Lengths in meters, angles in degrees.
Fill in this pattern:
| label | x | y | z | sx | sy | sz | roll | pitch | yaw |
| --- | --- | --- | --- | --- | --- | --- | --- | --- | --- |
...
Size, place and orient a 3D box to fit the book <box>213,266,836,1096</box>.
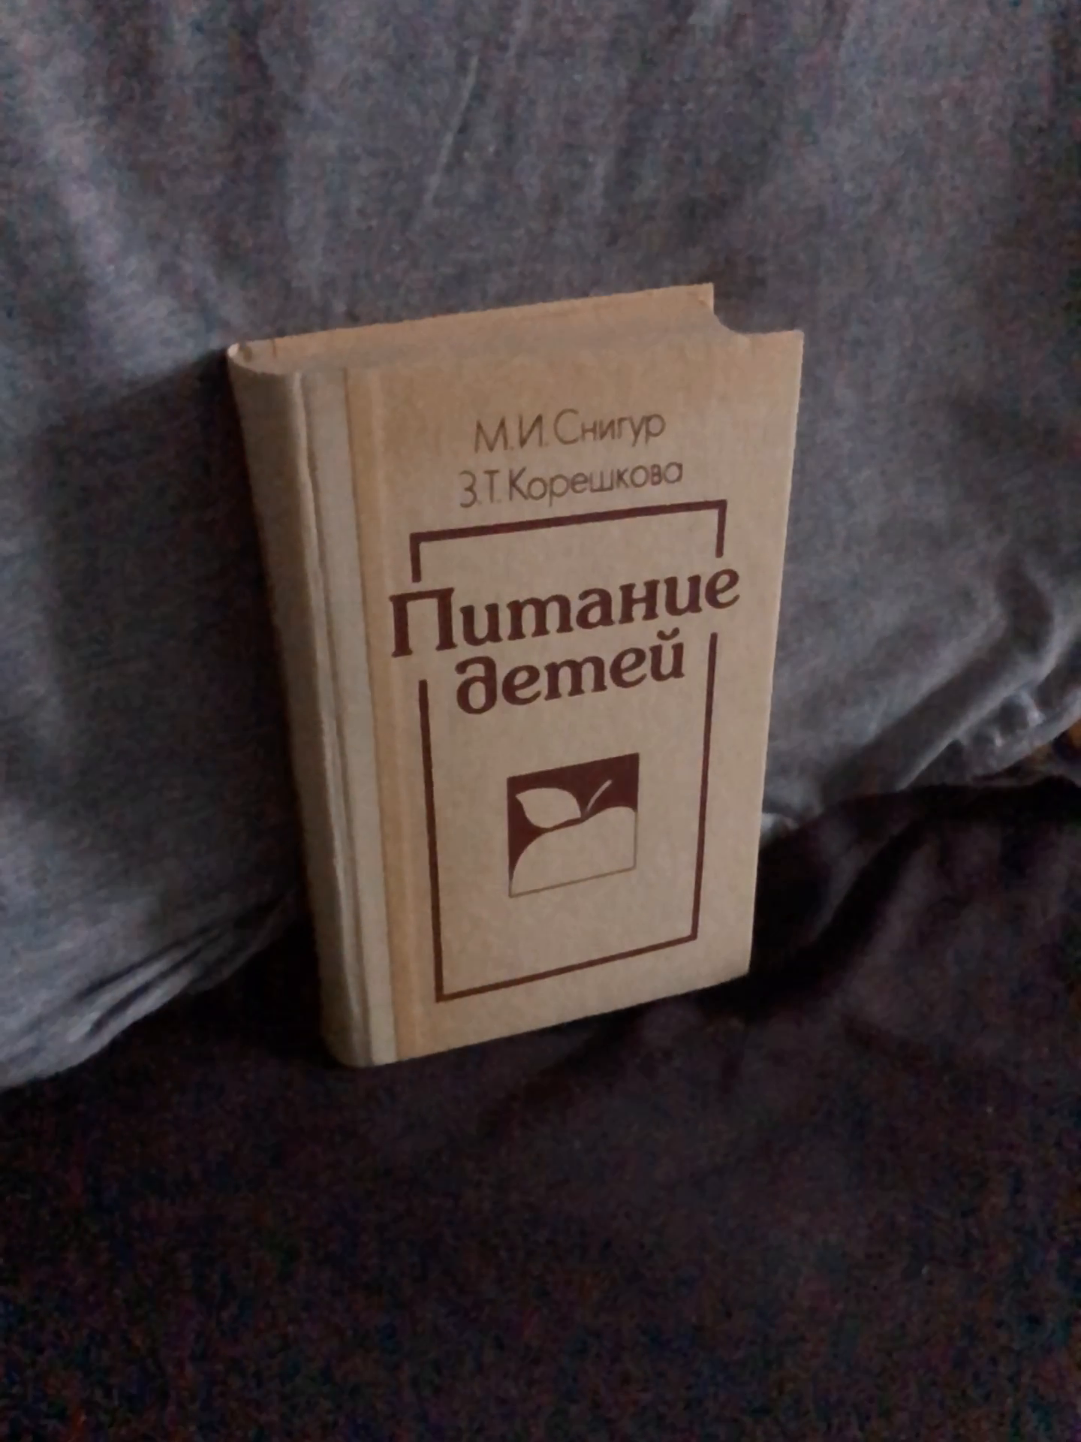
| label | x | y | z | sx | sy | sz | roll | pitch | yaw |
| --- | --- | --- | --- | --- | --- | --- | --- | --- | --- |
| book | 0.000 | -0.004 | 0.341 | 0.144 | 0.219 | 0.041 | -11 | 31 | -15 |
